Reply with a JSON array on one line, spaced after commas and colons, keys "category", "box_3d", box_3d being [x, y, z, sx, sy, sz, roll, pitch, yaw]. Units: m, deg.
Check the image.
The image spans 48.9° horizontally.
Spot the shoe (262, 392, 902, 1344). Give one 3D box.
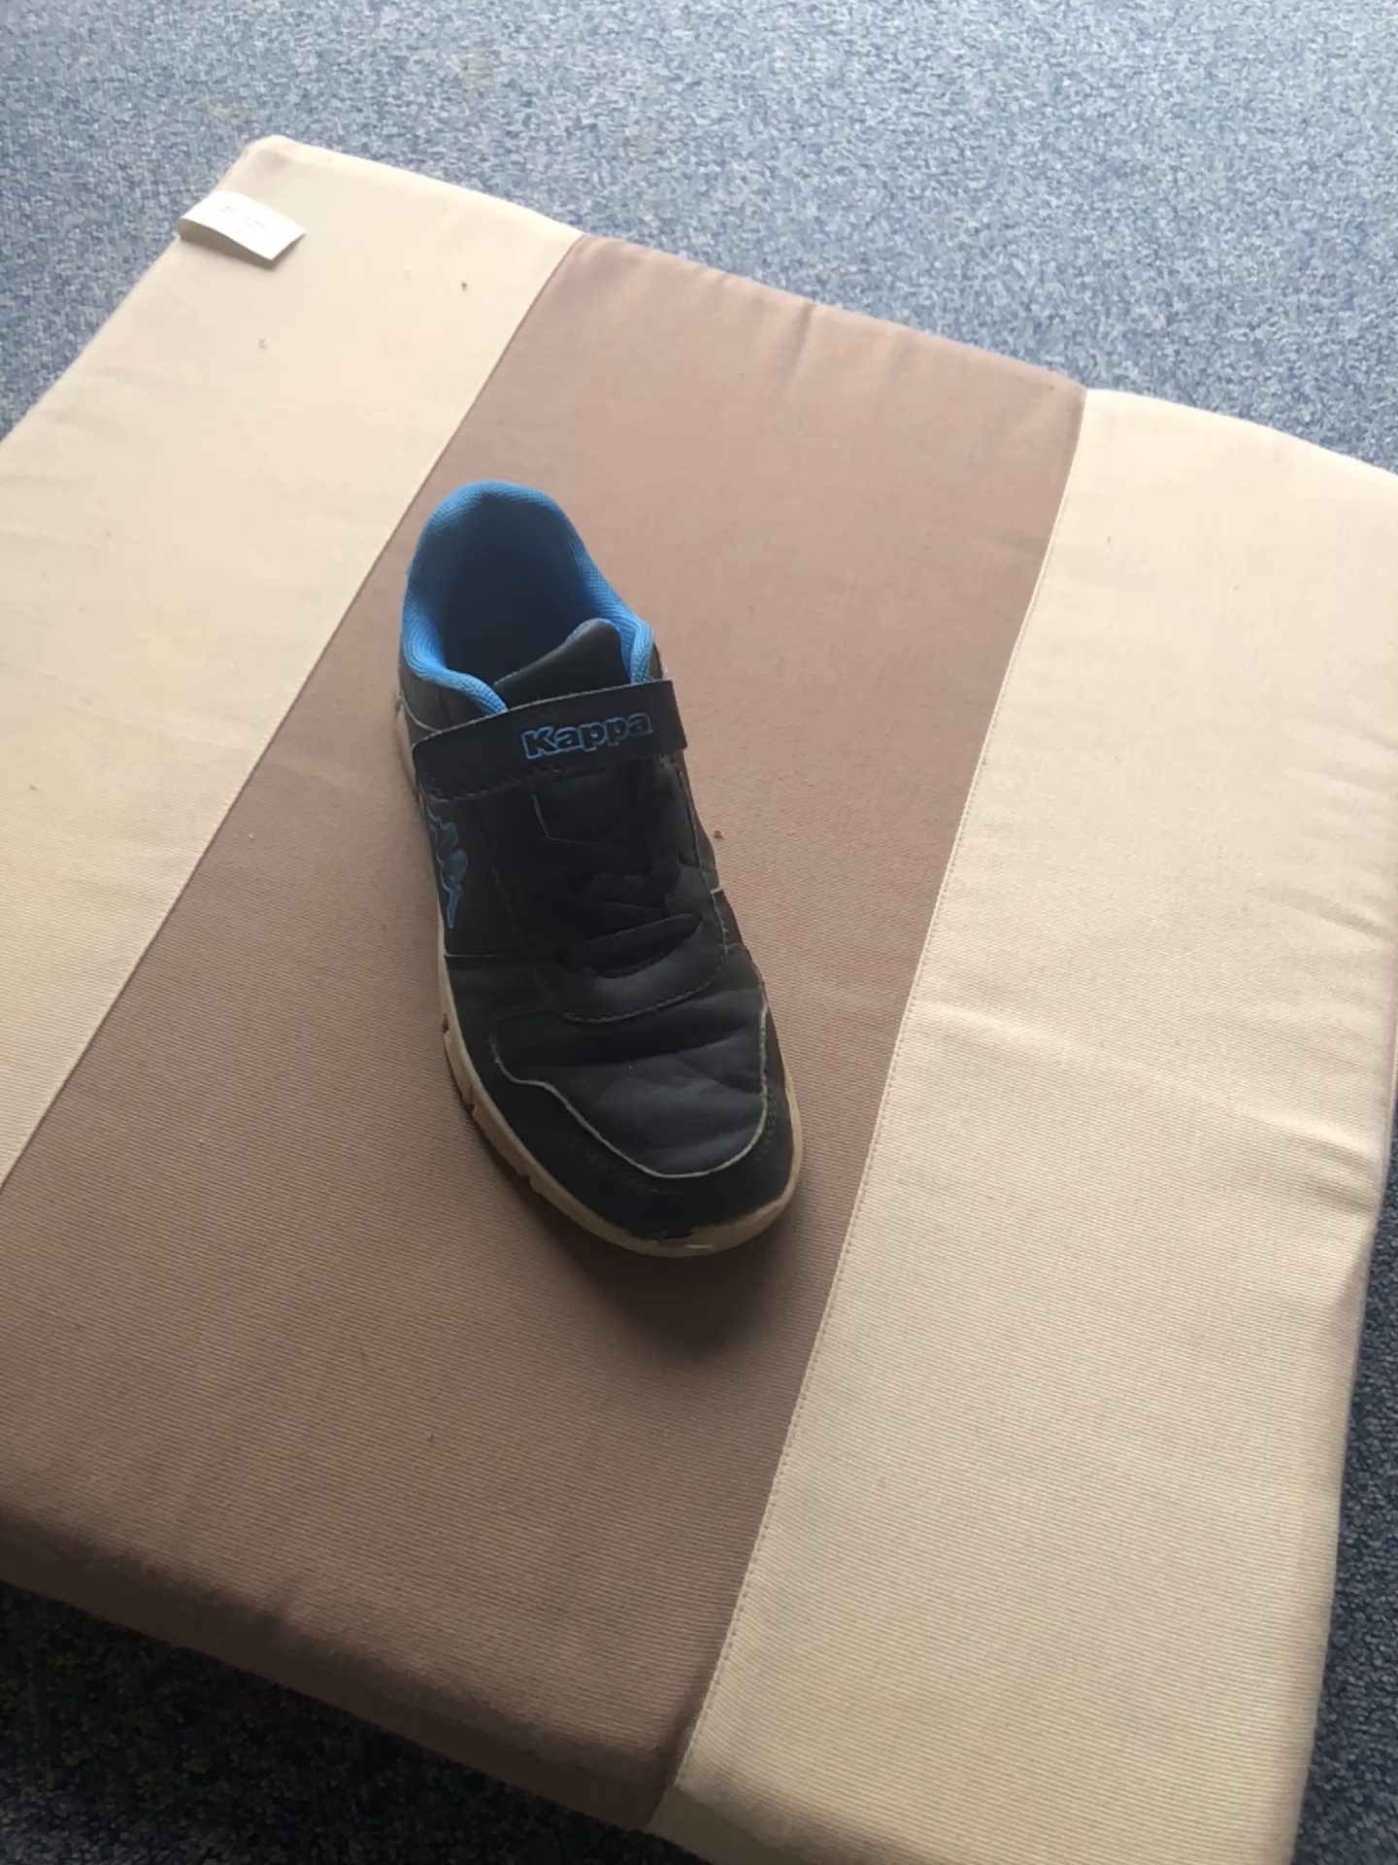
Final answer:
[{"category": "shoe", "box_3d": [-0.042, -0.026, 0.432, 0.100, 0.090, 0.240, -14, 63, -13]}]
